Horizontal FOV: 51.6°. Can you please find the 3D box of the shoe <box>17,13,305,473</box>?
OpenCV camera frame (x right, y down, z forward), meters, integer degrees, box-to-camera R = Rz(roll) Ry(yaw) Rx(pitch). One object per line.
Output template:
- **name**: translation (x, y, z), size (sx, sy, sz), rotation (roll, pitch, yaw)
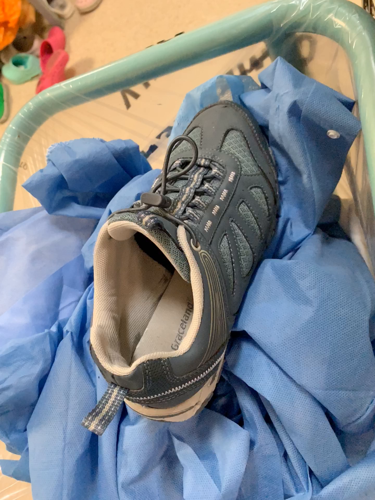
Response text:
- **shoe**: translation (-0.003, -0.008, 0.265), size (0.102, 0.109, 0.240), rotation (8, 79, 28)
